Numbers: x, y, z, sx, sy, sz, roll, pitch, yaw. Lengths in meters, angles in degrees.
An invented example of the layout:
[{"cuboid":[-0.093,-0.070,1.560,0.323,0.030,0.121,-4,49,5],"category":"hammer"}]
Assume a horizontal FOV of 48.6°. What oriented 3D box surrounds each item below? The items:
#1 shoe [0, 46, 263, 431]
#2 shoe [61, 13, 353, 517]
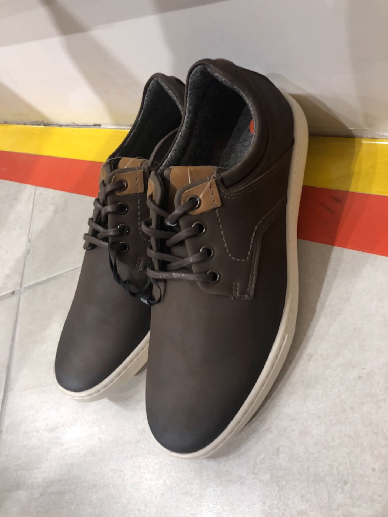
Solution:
[{"cuboid":[-0.052,-0.016,0.352,0.100,0.100,0.270,16,85,38],"category":"shoe"},{"cuboid":[0.017,0.004,0.285,0.100,0.100,0.270,8,83,36],"category":"shoe"}]
